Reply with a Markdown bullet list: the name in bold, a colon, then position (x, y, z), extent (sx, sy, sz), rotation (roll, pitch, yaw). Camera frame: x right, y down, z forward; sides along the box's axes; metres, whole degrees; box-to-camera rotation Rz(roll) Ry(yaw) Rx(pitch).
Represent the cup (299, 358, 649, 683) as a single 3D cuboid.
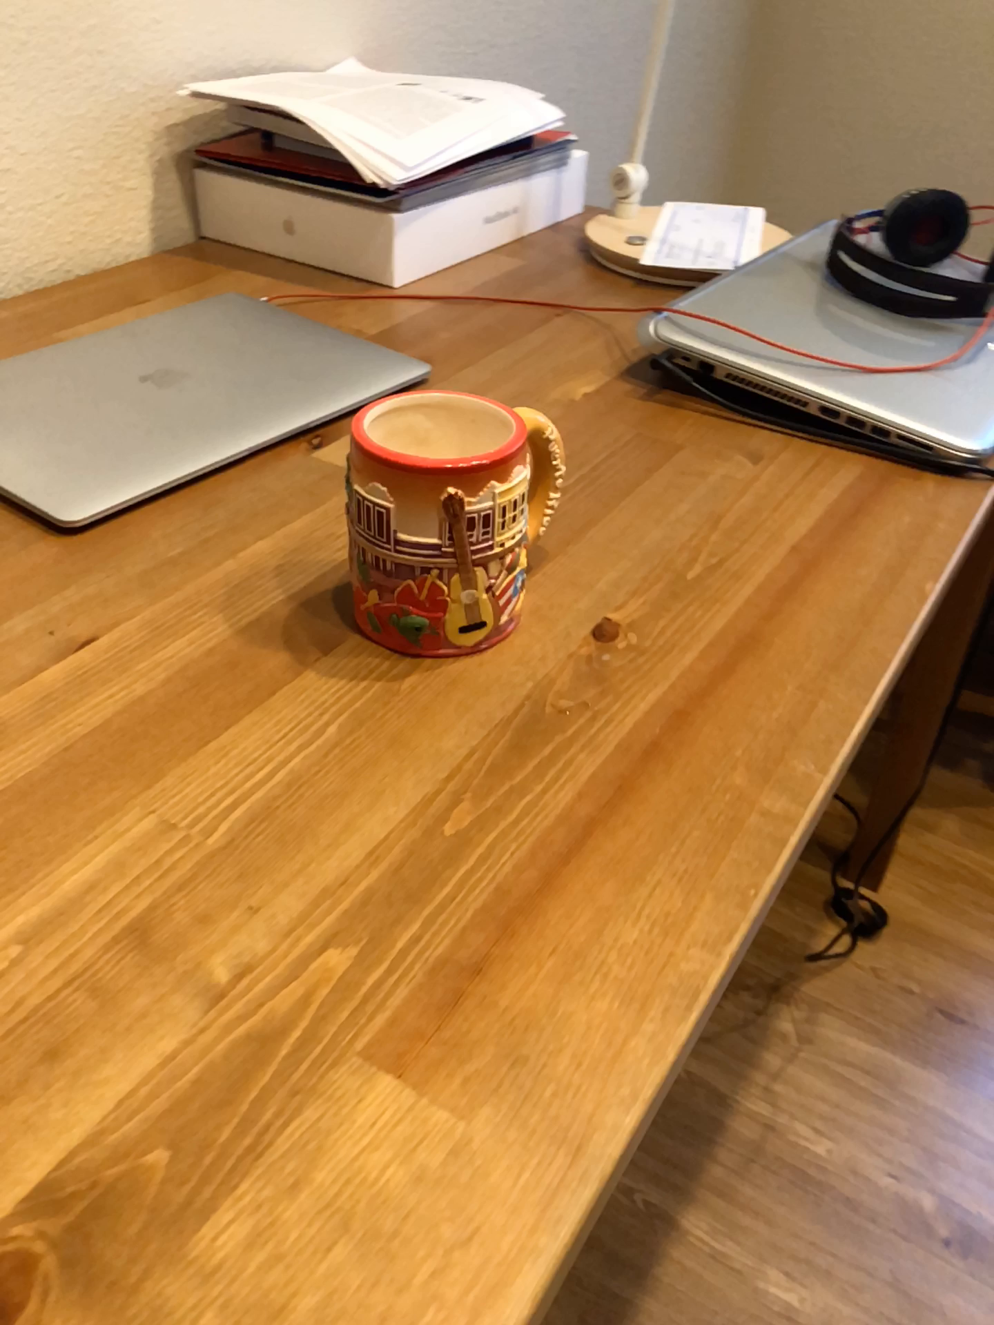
- **cup**: position (-0.010, -0.072, 0.522), extent (0.130, 0.090, 0.090), rotation (-27, 46, -34)
